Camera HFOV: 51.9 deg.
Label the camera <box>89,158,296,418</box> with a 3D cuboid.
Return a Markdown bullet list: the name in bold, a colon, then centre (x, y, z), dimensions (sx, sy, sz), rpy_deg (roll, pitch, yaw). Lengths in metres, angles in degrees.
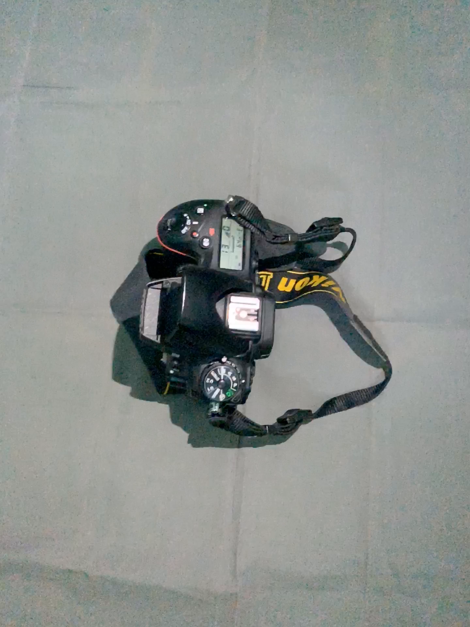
- **camera**: centre (-0.020, -0.005, 0.327), dimensions (0.100, 0.126, 0.140), rpy_deg (5, 78, 1)
